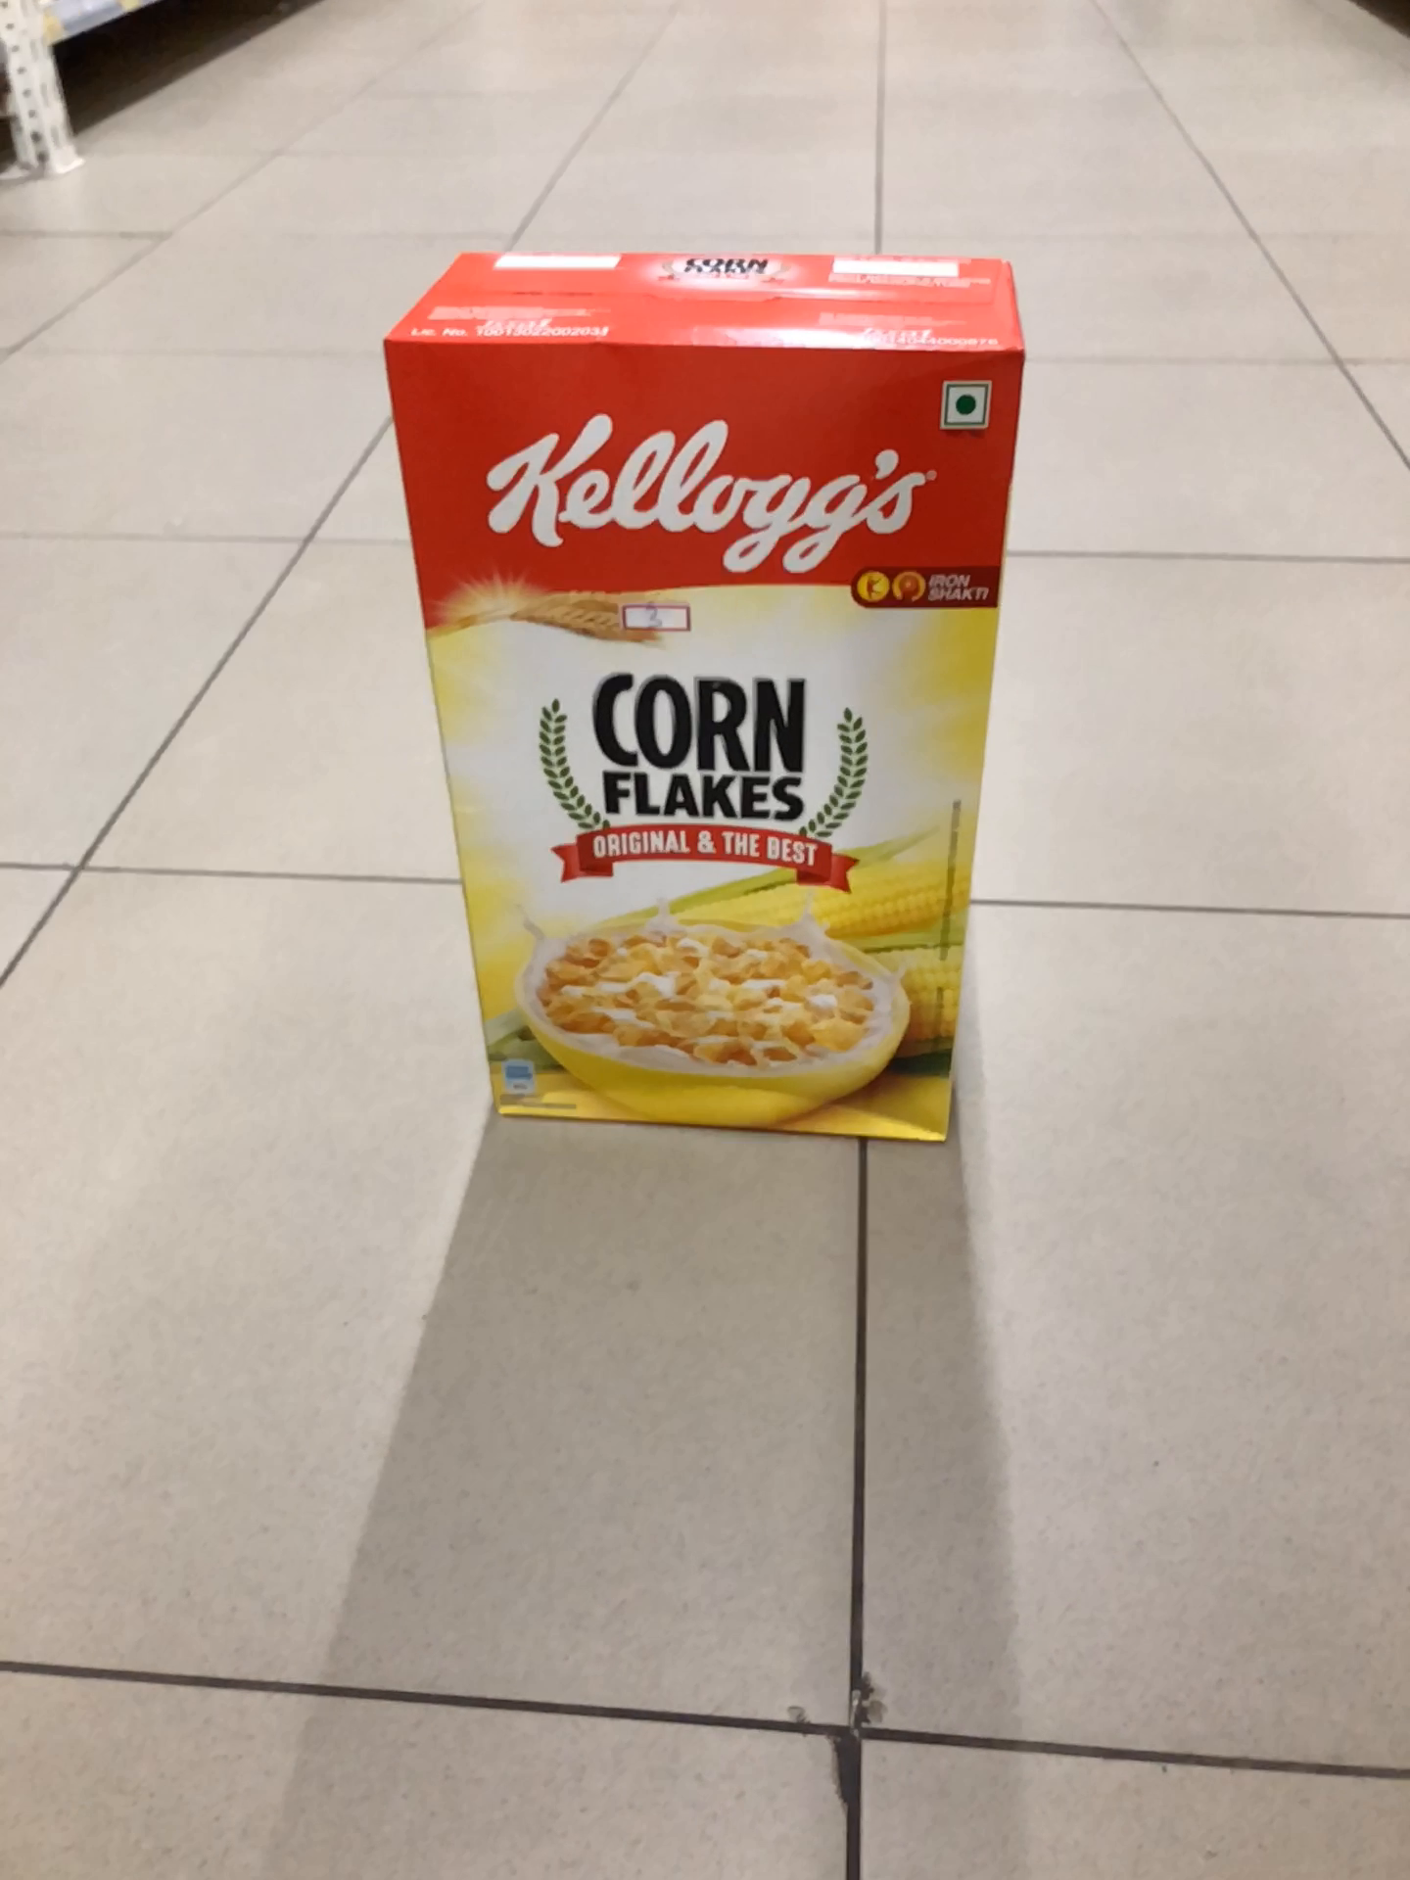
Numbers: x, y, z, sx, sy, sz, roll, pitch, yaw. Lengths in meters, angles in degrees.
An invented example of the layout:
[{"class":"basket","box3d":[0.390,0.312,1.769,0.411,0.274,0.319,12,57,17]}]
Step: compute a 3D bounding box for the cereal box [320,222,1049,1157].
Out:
[{"class":"cereal box","box3d":[0.001,-0.076,0.563,0.200,0.318,0.101,2,38,5]}]
